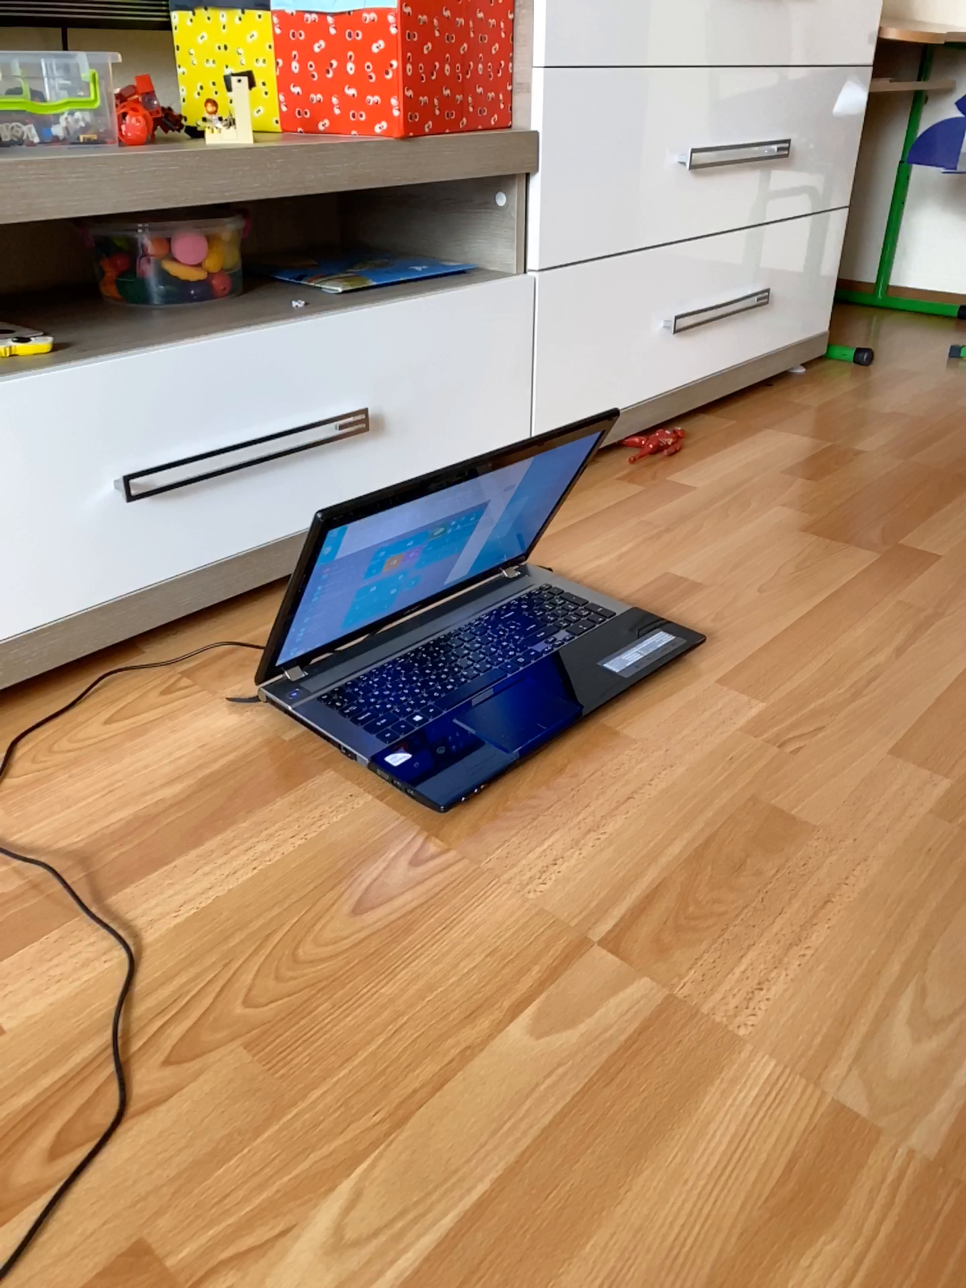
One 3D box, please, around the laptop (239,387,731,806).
[{"bbox_3d":[0.012,-0.082,1.003,0.269,0.233,0.413,25,38,38],"label":"laptop"}]
